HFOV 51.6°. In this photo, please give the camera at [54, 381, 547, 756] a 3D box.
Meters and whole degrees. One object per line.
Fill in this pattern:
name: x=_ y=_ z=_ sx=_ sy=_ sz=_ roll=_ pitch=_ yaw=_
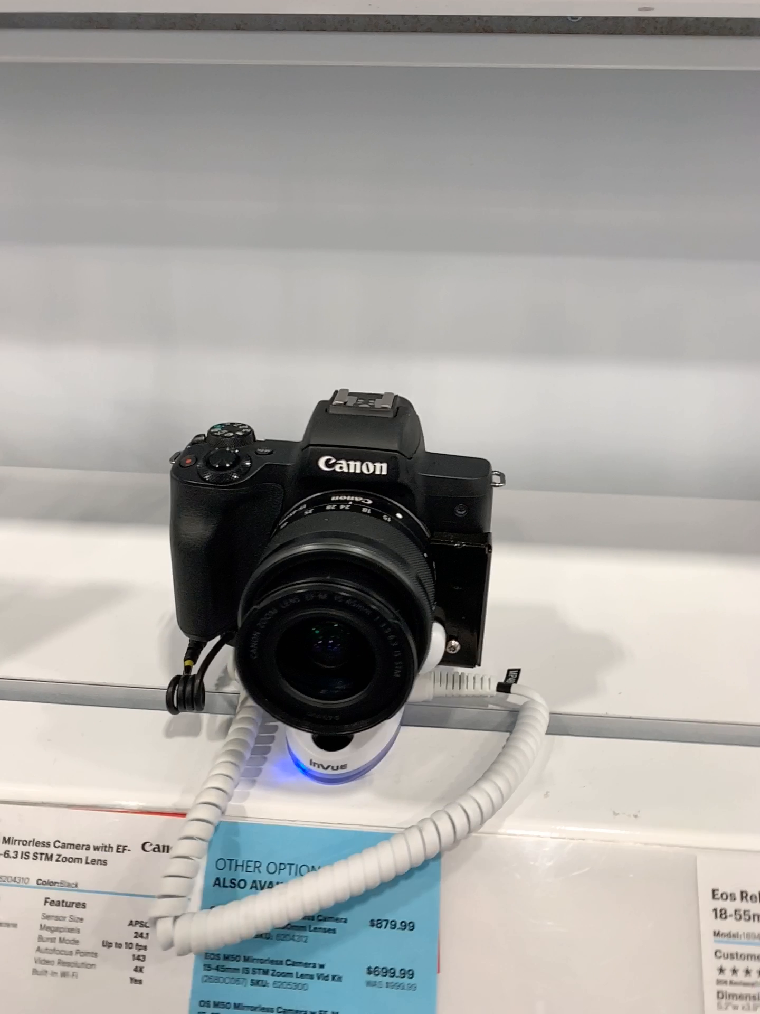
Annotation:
camera: x=-0.018 y=0.012 z=0.271 sx=0.130 sy=0.080 sz=0.111 roll=3 pitch=23 yaw=4
